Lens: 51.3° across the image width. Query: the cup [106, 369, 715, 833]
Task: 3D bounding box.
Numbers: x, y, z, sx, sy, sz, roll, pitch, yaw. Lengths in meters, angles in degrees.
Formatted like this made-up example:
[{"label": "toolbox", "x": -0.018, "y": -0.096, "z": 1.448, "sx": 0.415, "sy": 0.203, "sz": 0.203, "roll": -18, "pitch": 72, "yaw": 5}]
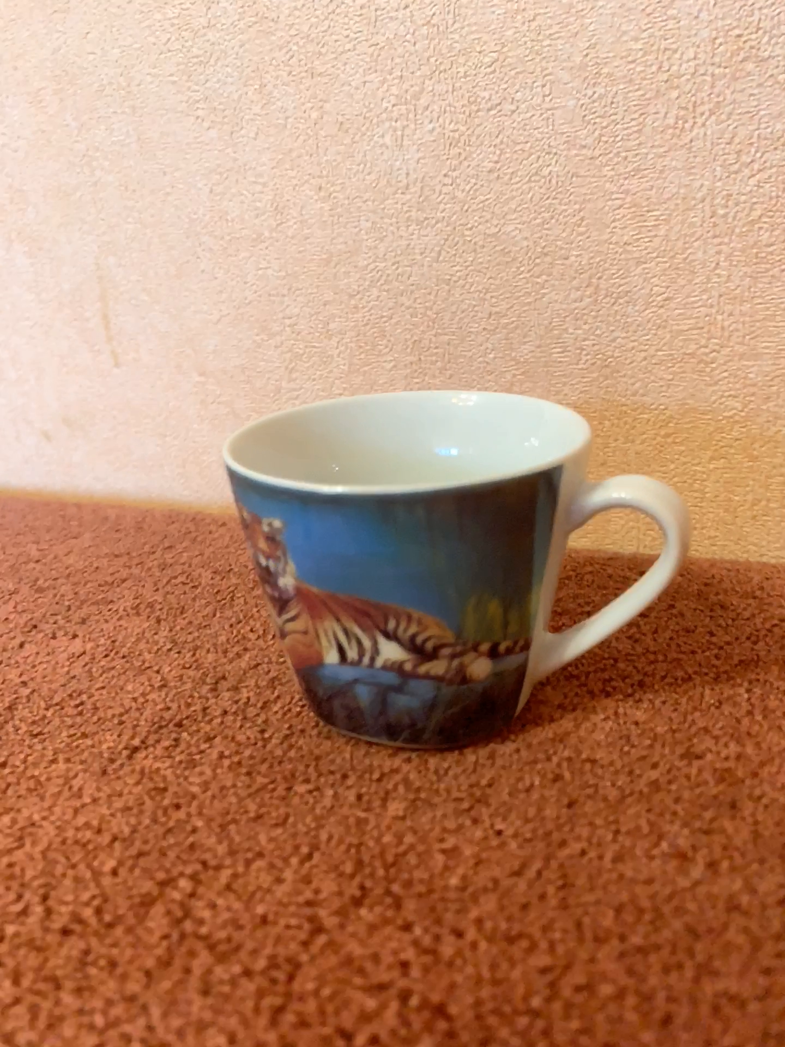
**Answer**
[{"label": "cup", "x": 0.009, "y": 0.003, "z": 0.150, "sx": 0.083, "sy": 0.048, "sz": 0.072, "roll": 5, "pitch": 23, "yaw": 29}]
